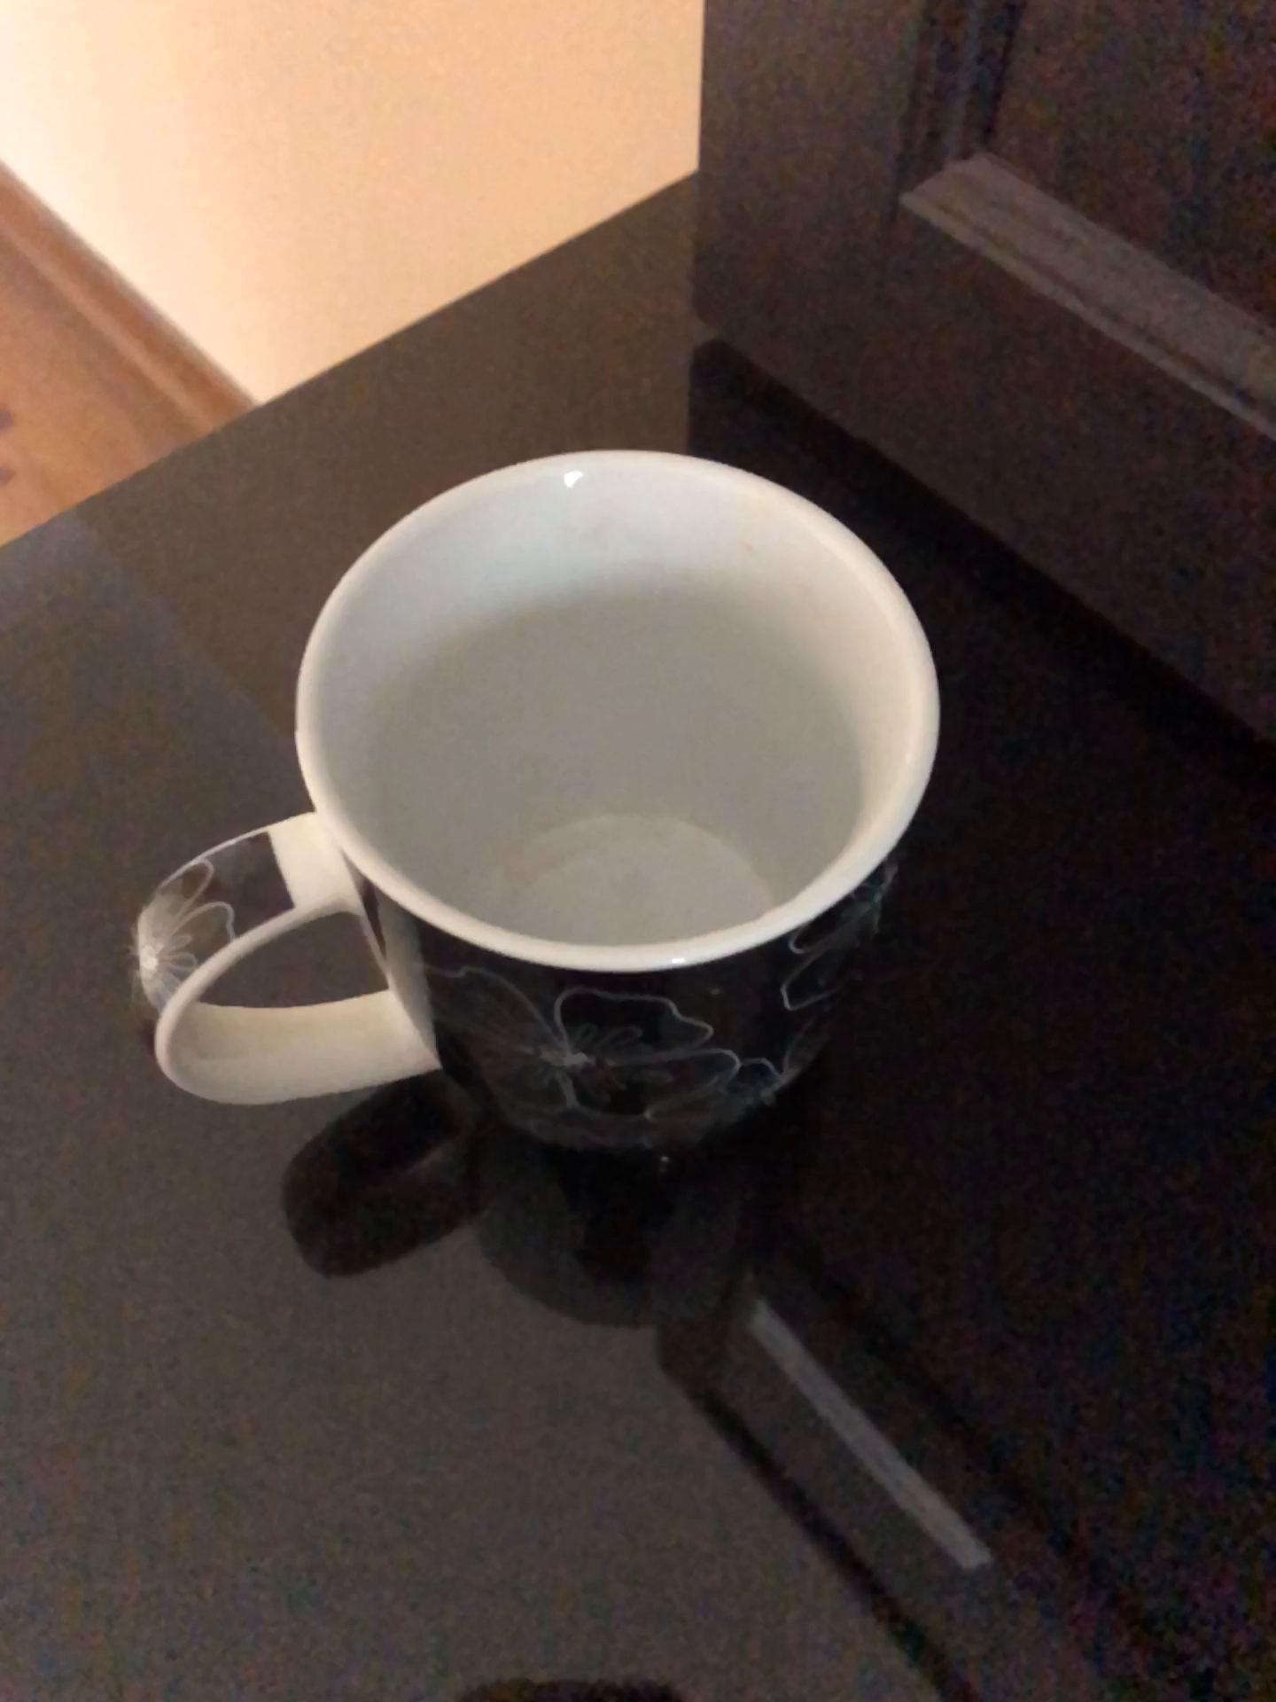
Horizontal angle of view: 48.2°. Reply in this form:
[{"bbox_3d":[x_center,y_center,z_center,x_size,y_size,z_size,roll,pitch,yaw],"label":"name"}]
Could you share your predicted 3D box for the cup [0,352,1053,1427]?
[{"bbox_3d":[-0.024,0.007,0.215,0.120,0.090,0.090,-24,61,-14],"label":"cup"}]
